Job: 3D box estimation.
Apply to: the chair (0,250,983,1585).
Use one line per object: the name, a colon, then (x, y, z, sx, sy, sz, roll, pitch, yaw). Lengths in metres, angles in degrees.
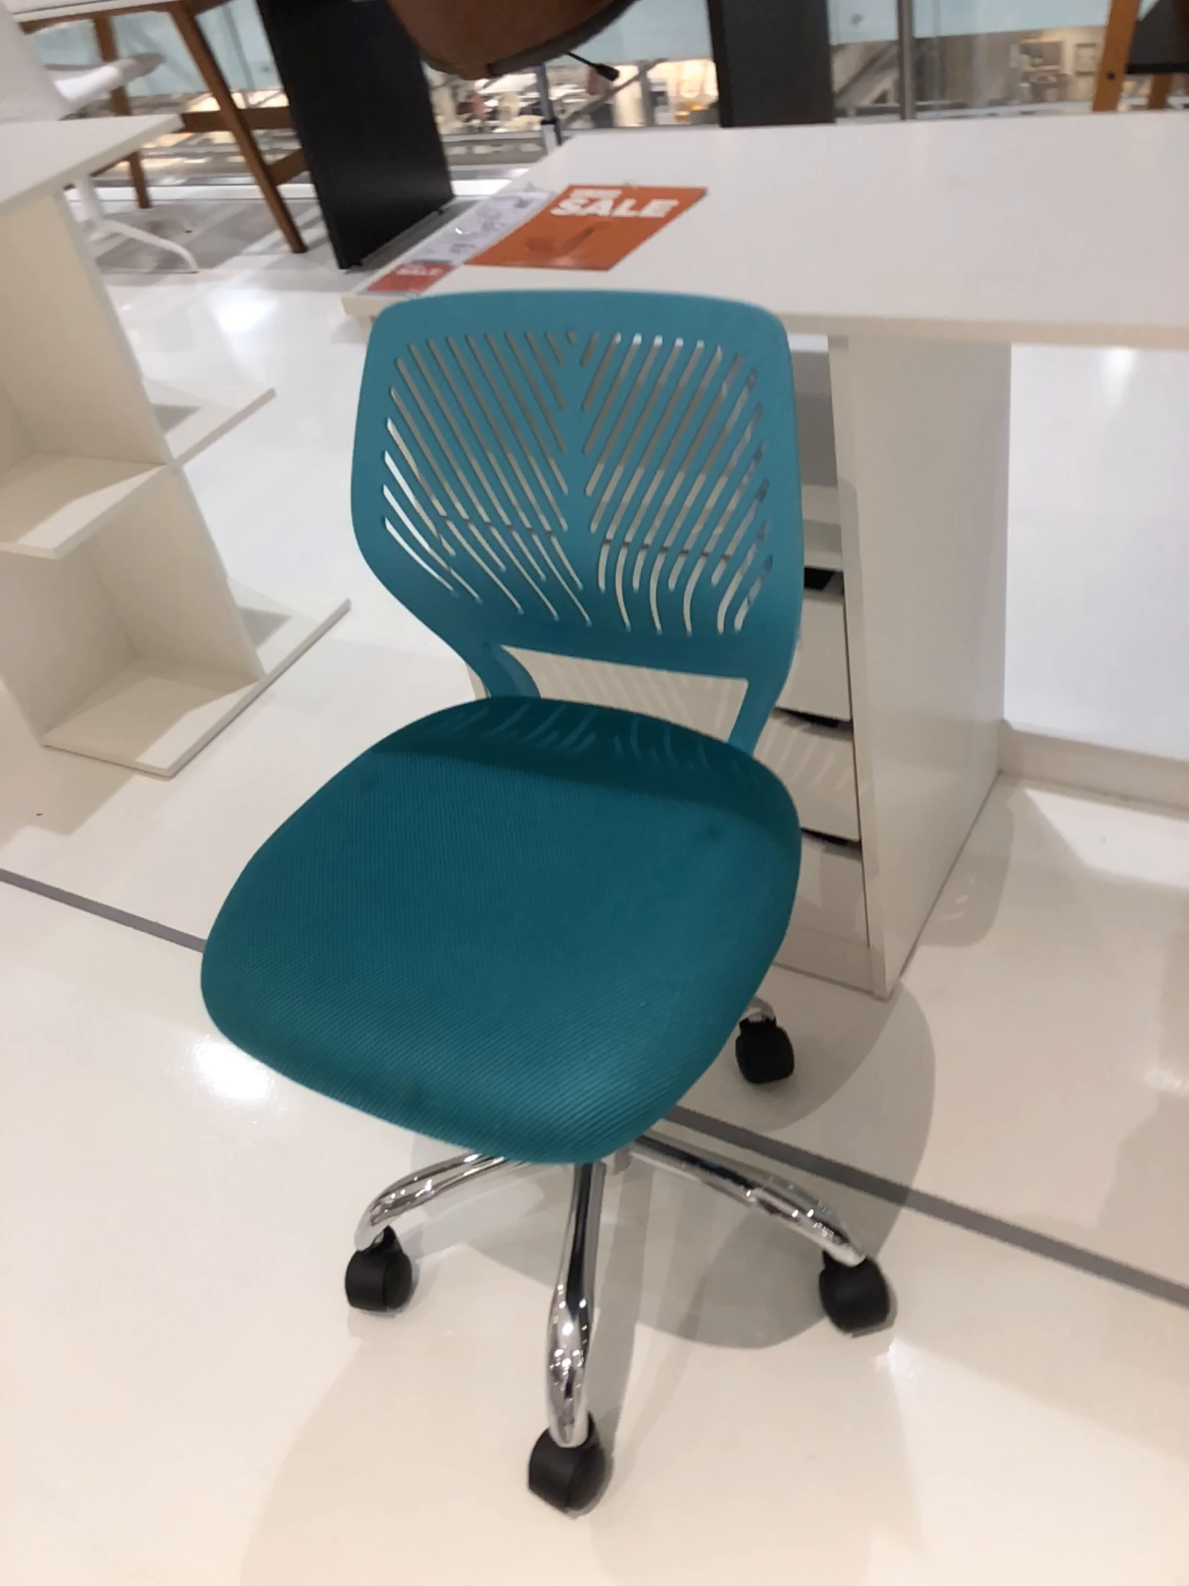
chair: (-0.047, 0.086, 0.914, 0.501, 0.725, 0.503, 11, 45, 27)
